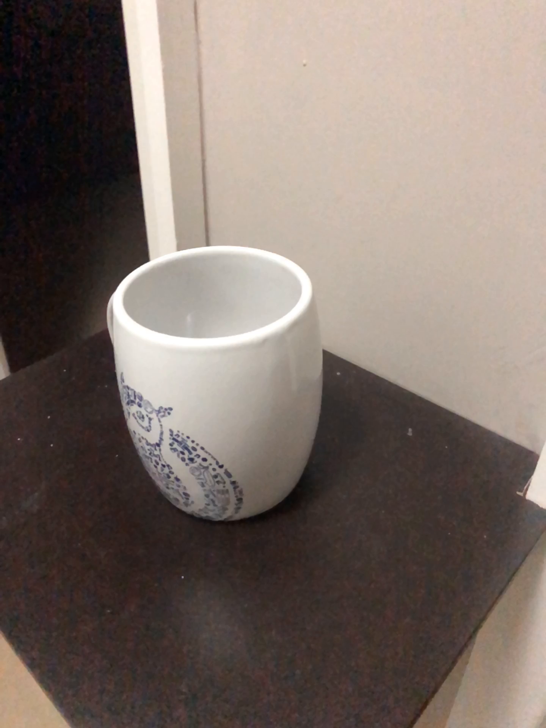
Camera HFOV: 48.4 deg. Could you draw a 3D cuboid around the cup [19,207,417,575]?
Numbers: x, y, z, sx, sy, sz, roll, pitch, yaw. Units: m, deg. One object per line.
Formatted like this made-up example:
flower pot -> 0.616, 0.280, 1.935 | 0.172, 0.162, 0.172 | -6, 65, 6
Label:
cup -> -0.025, -0.002, 0.268 | 0.100, 0.079, 0.130 | -29, 44, -36
